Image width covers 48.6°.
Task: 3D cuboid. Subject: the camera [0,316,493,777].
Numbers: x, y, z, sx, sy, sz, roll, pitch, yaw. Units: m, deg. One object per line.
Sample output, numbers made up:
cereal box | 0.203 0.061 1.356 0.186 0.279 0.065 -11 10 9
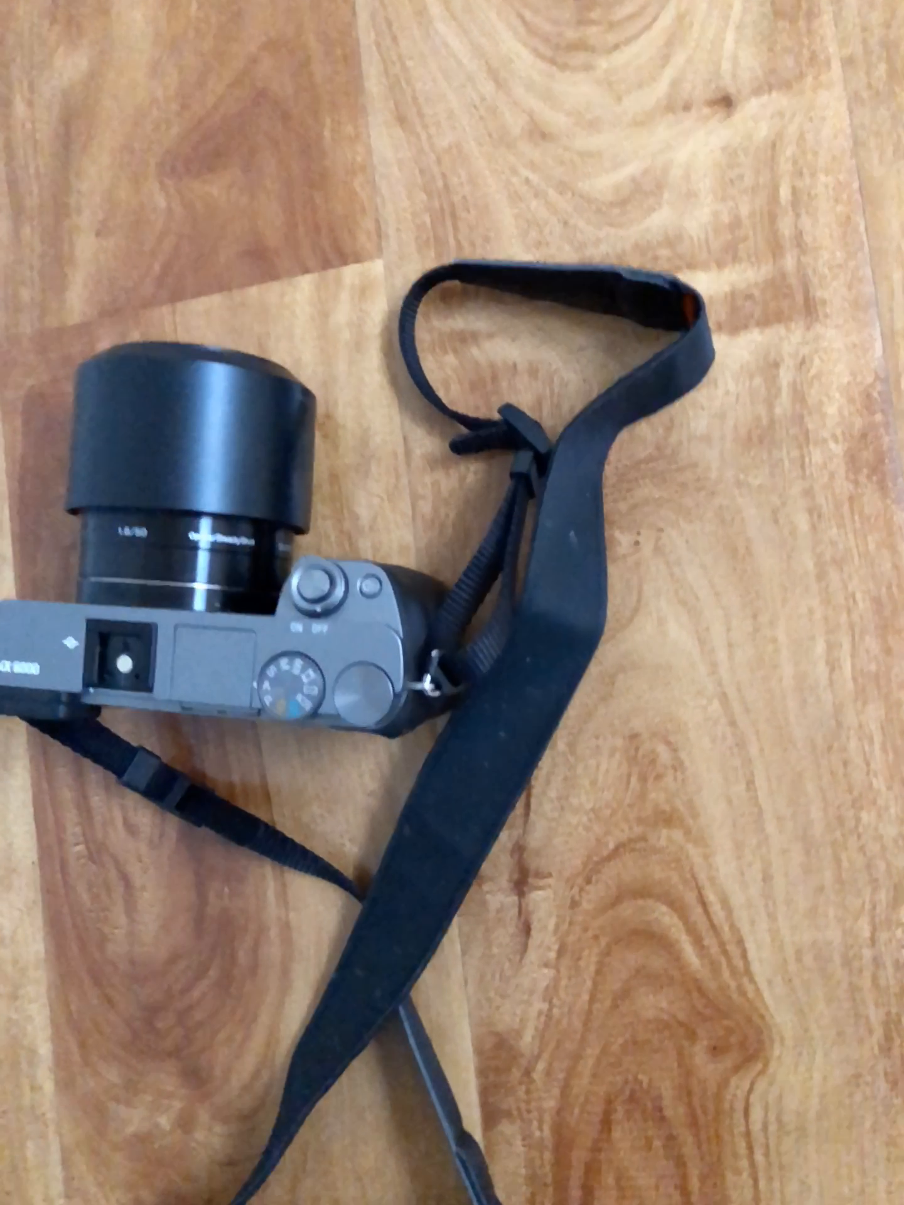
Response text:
camera | -0.068 -0.015 0.292 0.140 0.080 0.110 3 87 13
